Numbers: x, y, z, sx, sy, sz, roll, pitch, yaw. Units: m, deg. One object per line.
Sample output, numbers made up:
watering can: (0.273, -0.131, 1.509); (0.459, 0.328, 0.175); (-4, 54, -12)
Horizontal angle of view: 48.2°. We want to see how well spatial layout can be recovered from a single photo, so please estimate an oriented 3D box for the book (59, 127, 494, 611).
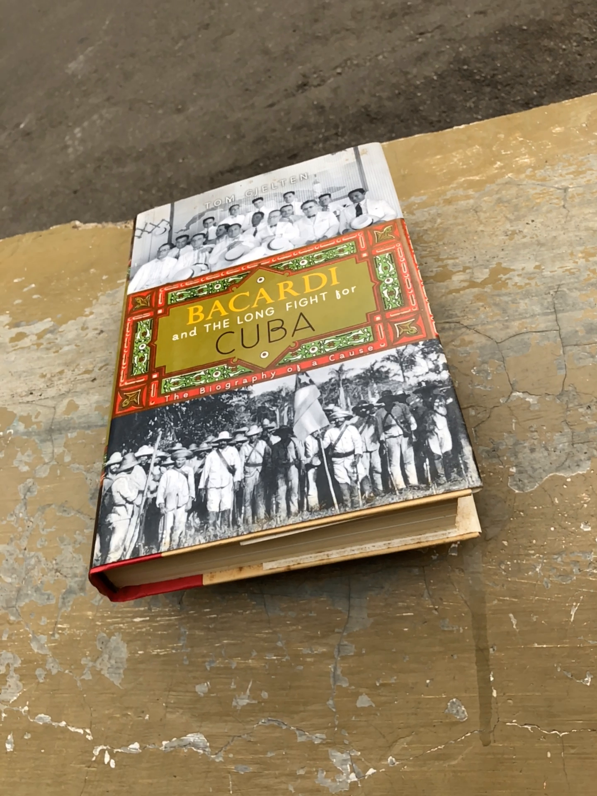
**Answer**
book: (-0.016, -0.032, 0.352); (0.170, 0.050, 0.251); (-13, 49, 10)
